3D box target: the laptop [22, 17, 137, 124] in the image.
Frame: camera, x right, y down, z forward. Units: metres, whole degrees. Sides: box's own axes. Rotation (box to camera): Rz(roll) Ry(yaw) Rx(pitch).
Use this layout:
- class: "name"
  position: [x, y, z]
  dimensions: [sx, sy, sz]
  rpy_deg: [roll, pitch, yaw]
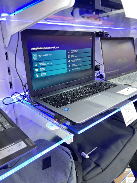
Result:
- class: "laptop"
  position: [0.076, -0.104, 0.515]
  dimensions: [0.372, 0.232, 0.263]
  rpy_deg: [-17, 23, -38]
